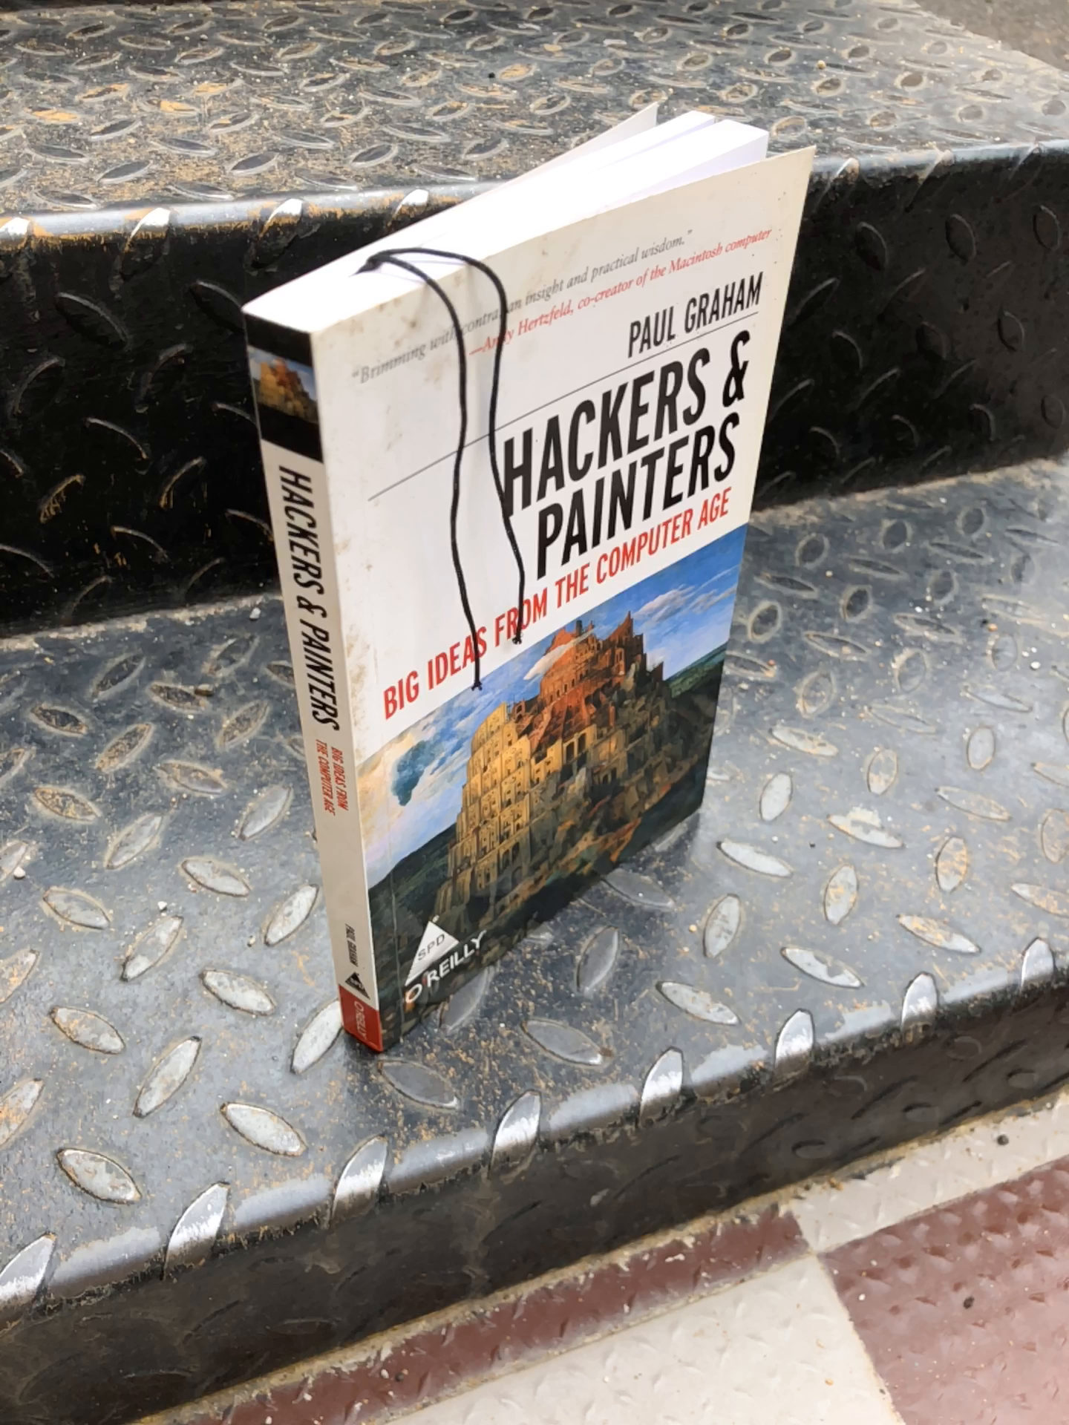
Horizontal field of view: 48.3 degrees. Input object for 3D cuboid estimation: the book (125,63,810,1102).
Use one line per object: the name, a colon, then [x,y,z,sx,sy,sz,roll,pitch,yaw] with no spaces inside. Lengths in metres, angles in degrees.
book: [-0.001,-0.025,0.308,0.030,0.219,0.171,28,51,27]
